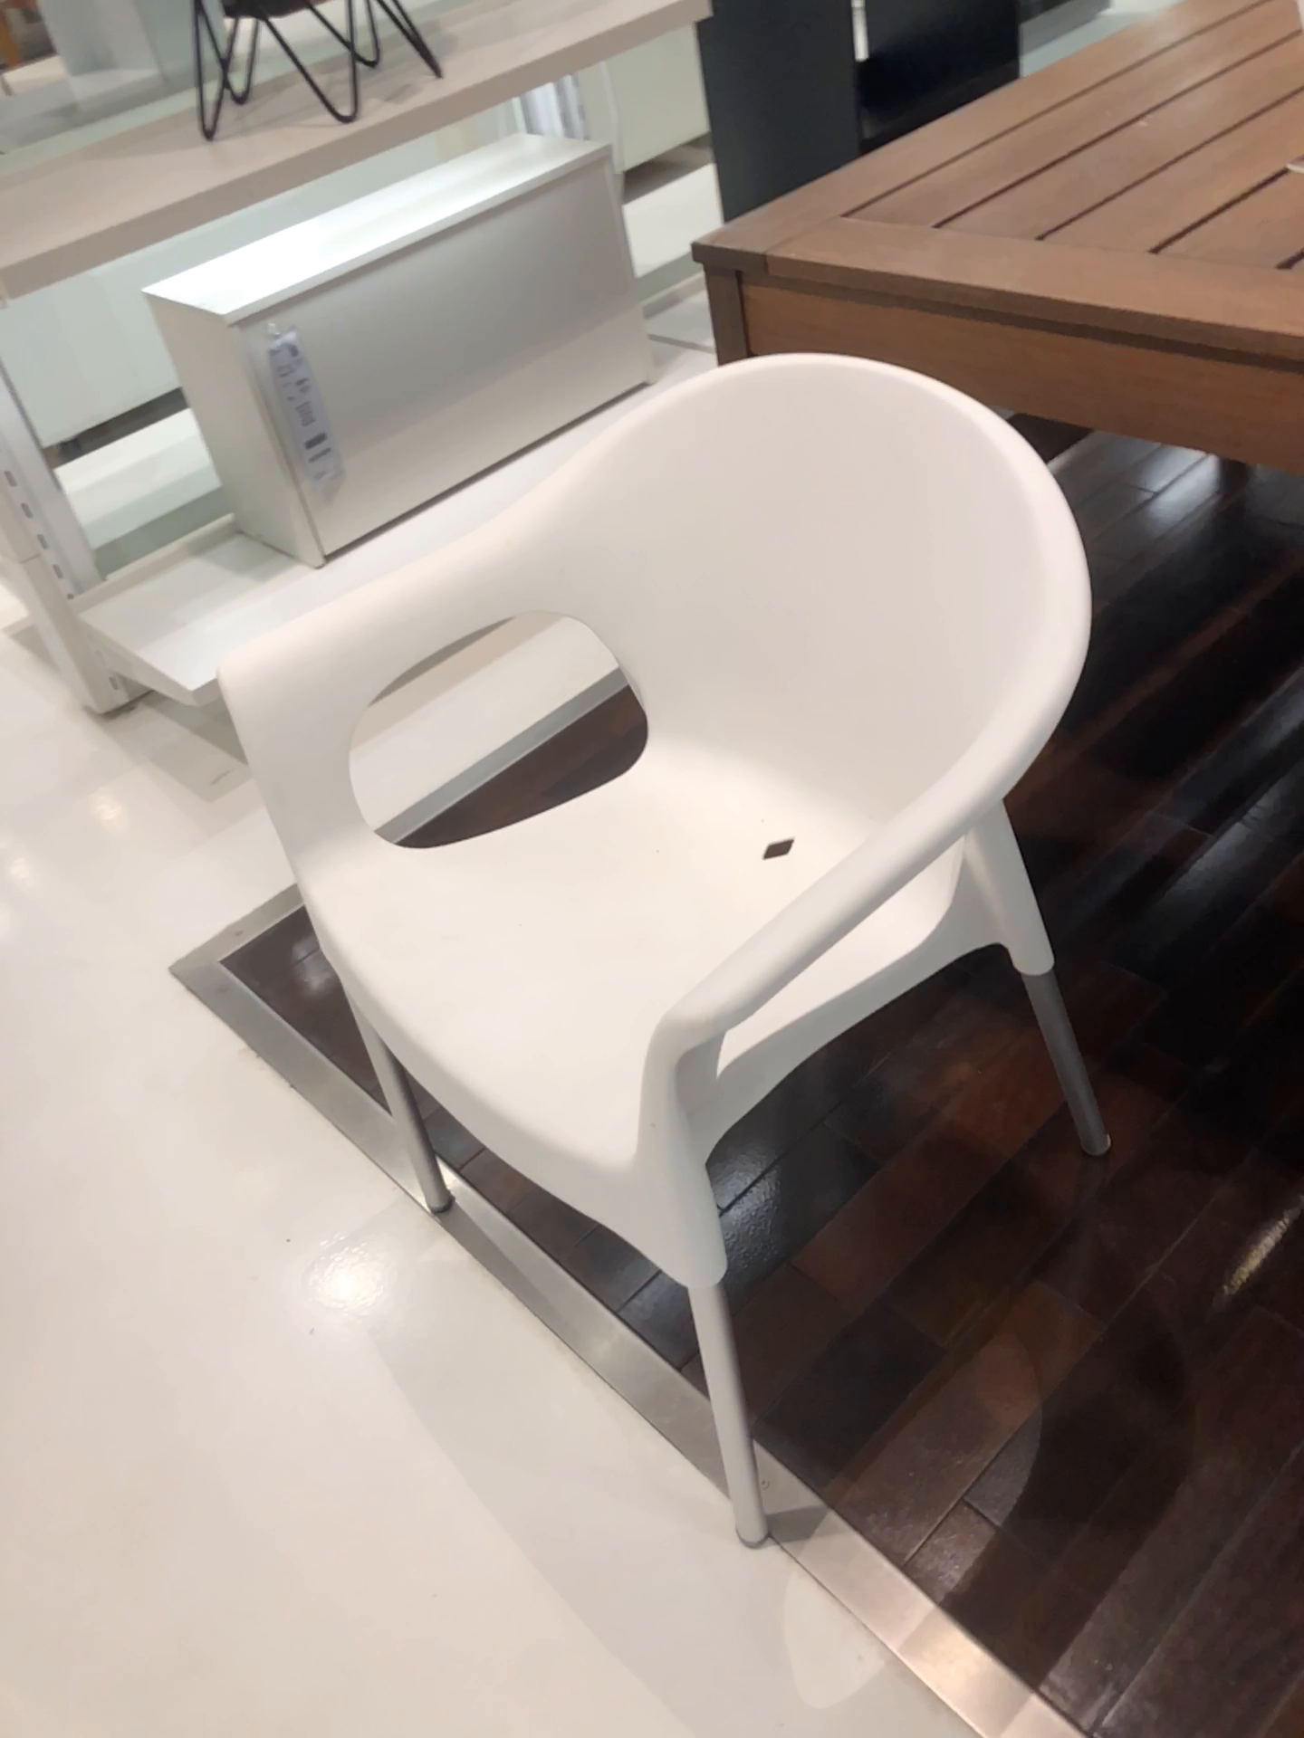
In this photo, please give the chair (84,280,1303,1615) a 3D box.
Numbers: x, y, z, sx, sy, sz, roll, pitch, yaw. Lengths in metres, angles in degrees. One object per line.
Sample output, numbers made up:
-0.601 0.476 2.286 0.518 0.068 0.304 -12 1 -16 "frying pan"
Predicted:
0.065 0.023 1.143 0.561 0.705 0.583 -36 44 -24 "chair"
